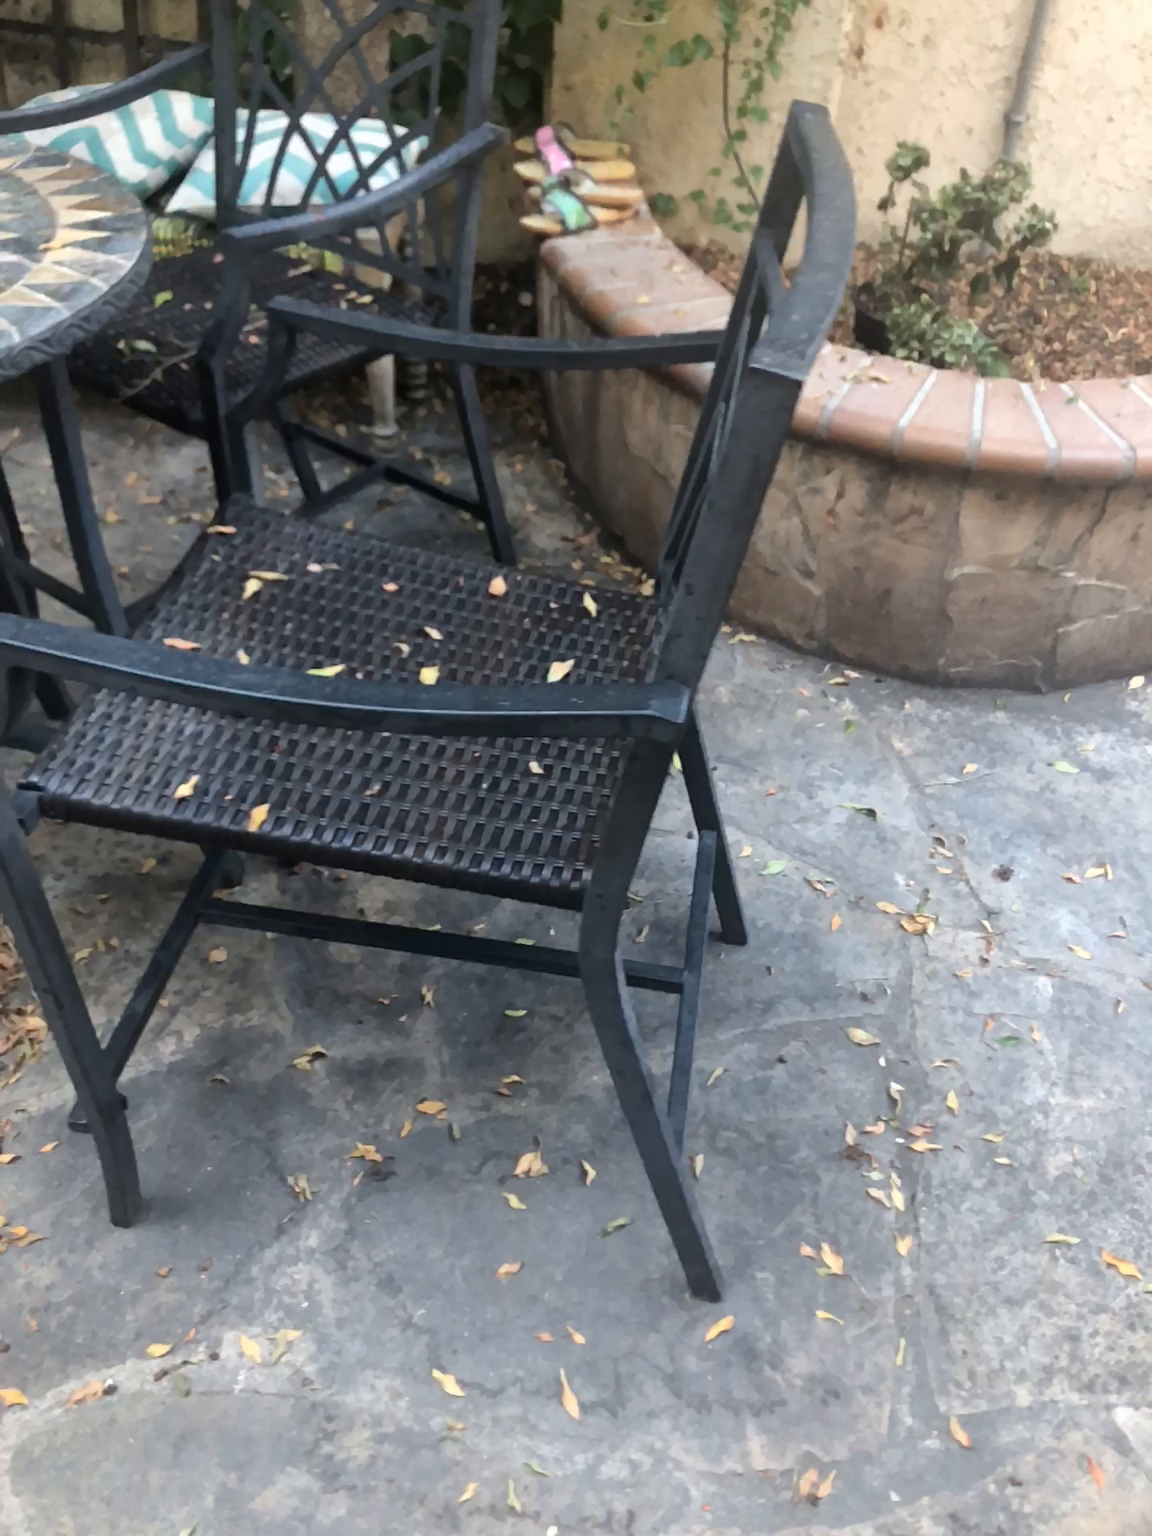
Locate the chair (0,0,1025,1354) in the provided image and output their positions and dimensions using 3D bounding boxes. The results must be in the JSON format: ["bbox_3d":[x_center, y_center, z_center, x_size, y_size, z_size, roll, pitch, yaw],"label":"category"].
[{"bbox_3d":[-0.103,-0.072,1.147,0.690,0.912,0.686,8,43,6],"label":"chair"}]
